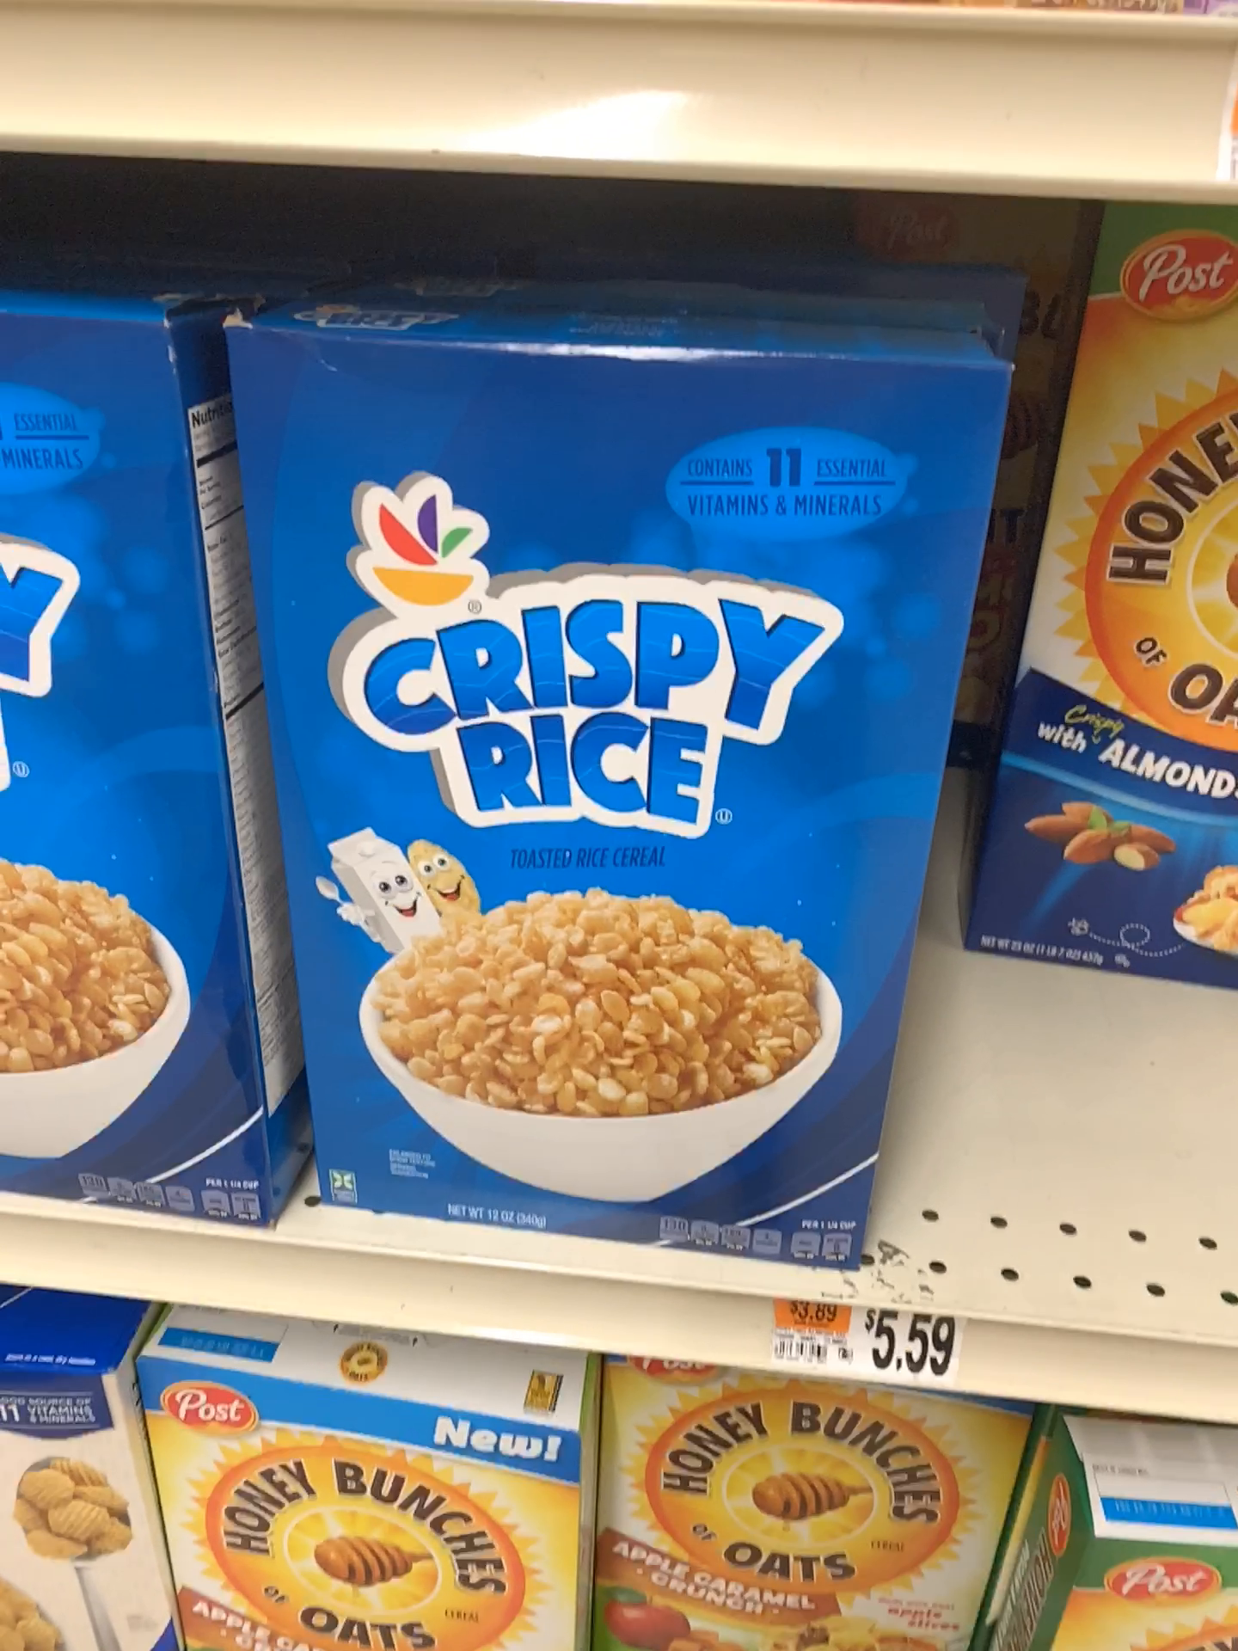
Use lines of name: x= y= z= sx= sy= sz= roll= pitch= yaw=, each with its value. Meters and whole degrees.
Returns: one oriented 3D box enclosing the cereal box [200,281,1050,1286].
cereal box: x=-0.003 y=0.002 z=0.420 sx=0.210 sy=0.318 sz=0.070 roll=5 pitch=30 yaw=5
